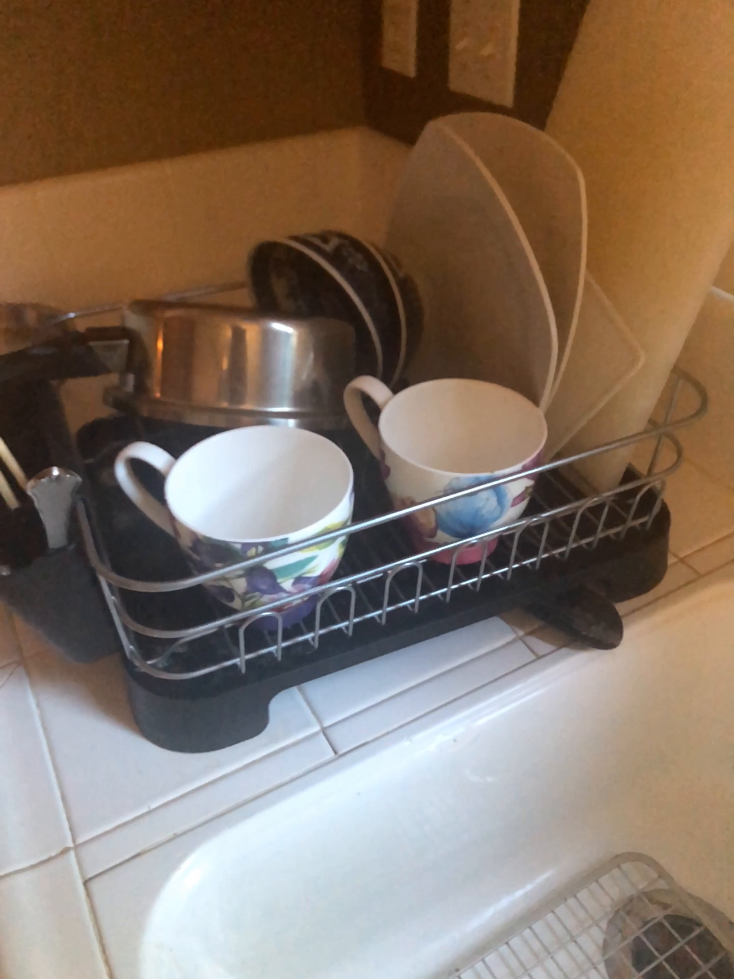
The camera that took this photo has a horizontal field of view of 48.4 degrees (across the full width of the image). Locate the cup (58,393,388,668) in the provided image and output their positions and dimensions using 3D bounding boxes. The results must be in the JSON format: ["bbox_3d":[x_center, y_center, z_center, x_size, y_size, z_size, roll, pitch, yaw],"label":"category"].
[{"bbox_3d":[-0.082,0.019,0.512,0.160,0.089,0.111,13,40,19],"label":"cup"}]

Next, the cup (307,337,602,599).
[{"bbox_3d":[0.058,-0.022,0.566,0.160,0.089,0.111,25,45,30],"label":"cup"}]
